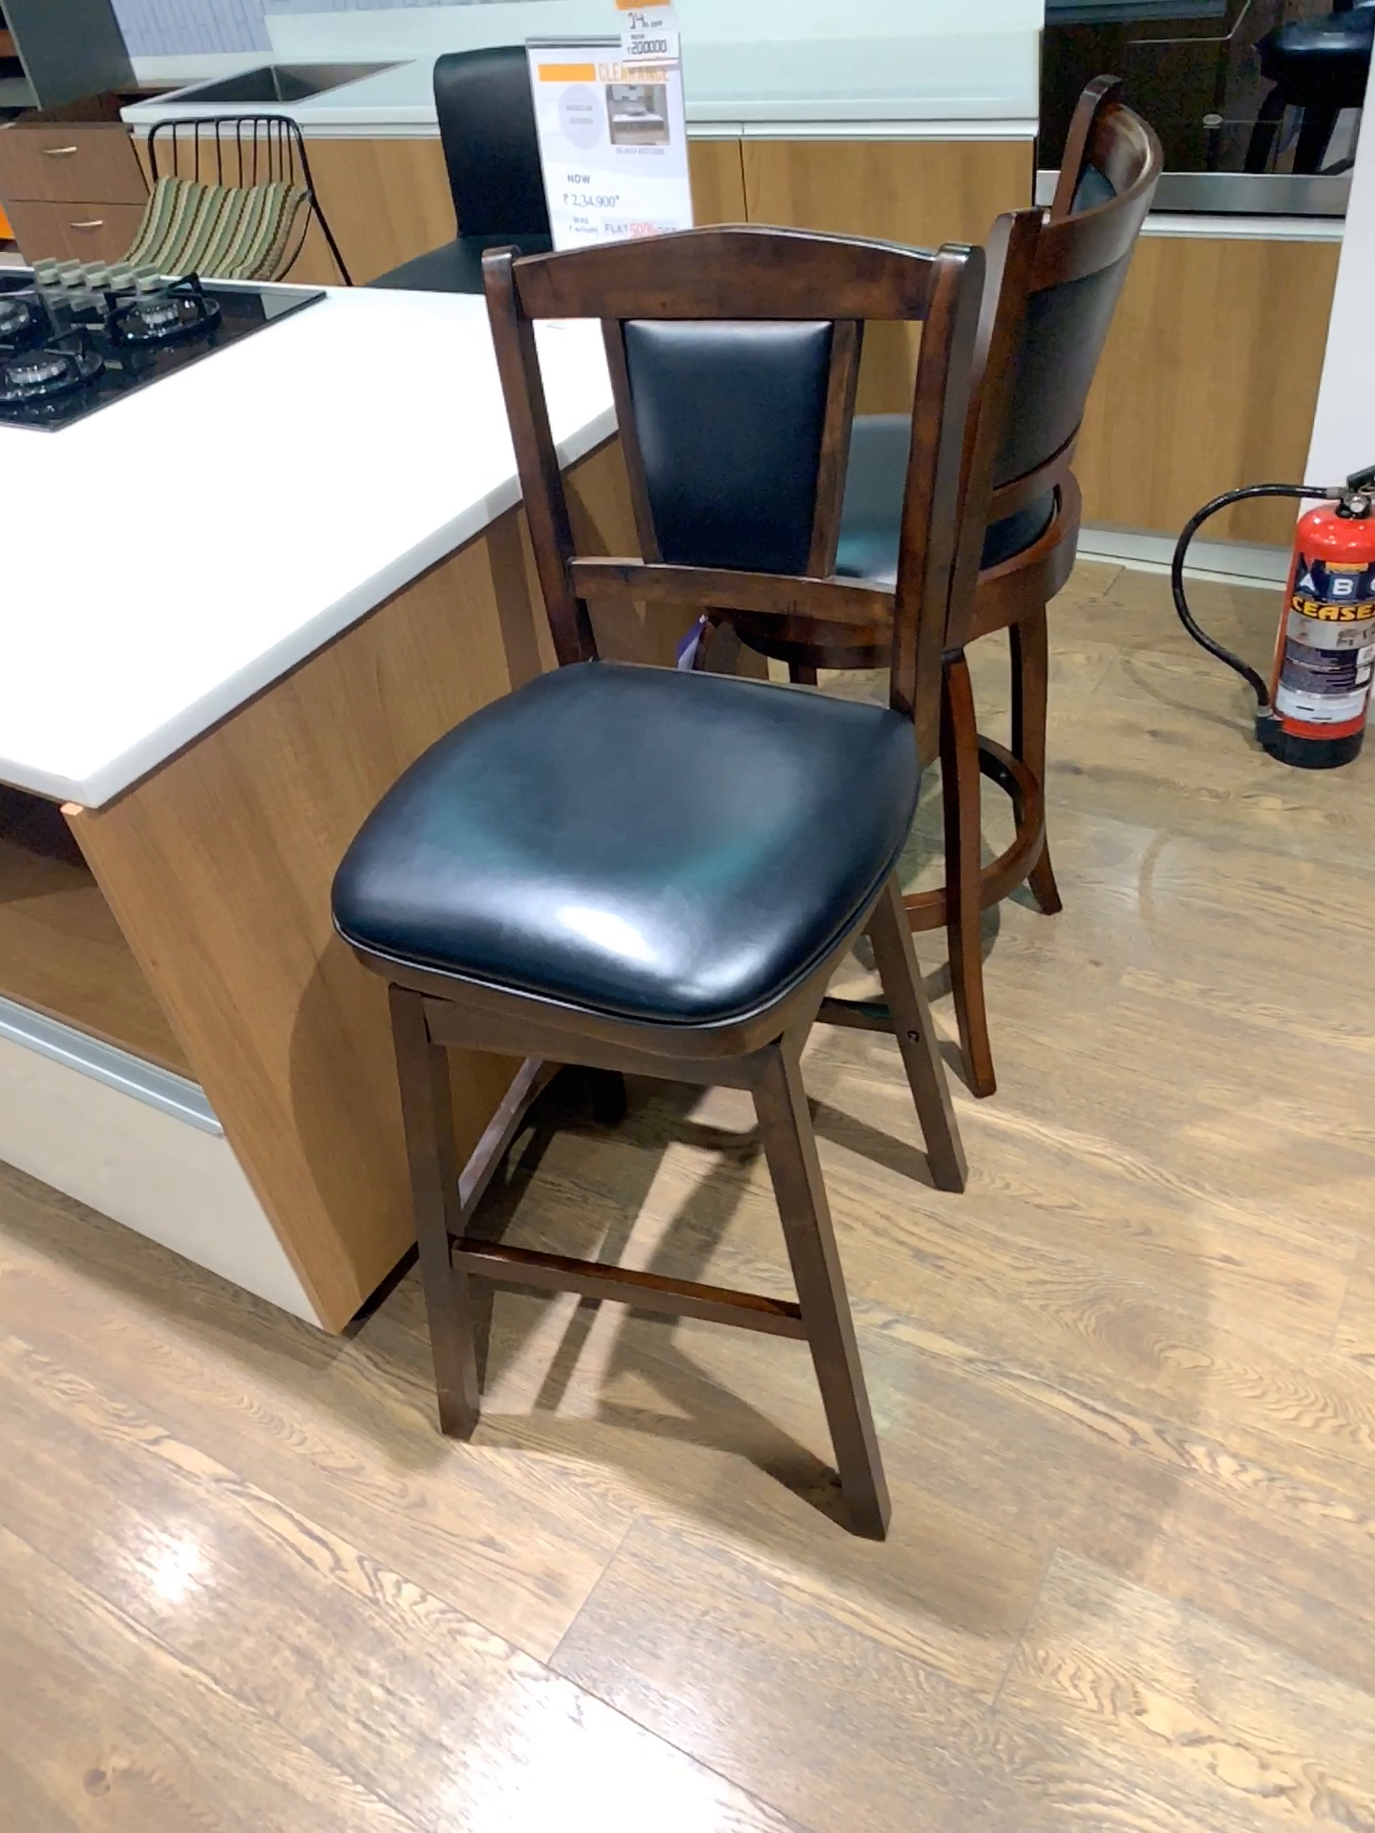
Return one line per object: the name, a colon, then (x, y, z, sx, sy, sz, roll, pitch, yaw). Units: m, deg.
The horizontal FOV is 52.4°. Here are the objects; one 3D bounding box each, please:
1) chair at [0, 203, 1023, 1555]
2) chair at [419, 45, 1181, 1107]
chair: (-0.043, -0.005, 1.281, 0.581, 1.025, 0.572, 7, 42, 18)
chair: (0.187, -0.387, 1.687, 0.571, 1.025, 0.552, 13, 44, 25)
